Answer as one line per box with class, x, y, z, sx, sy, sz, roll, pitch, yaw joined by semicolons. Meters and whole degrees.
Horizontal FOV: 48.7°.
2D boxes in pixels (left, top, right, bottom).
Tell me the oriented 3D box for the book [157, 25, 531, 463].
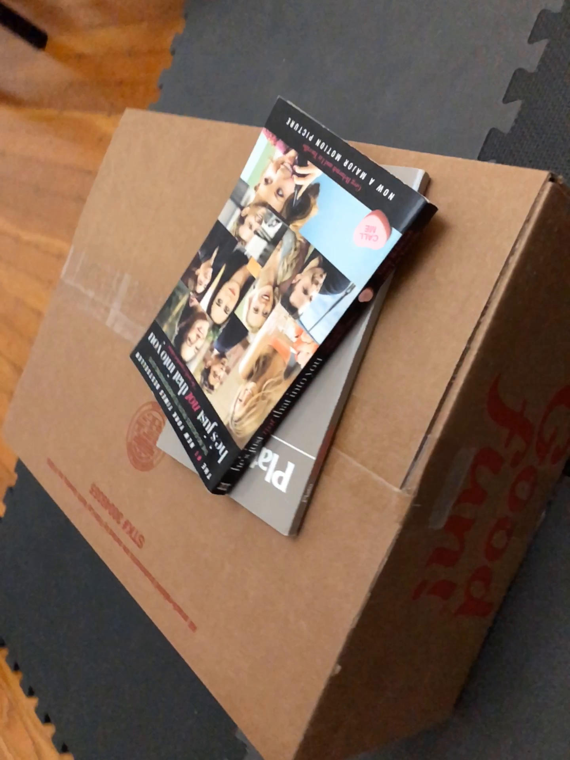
book;0.013;-0.085;0.384;0.230;0.010;0.151;-53;50;18
